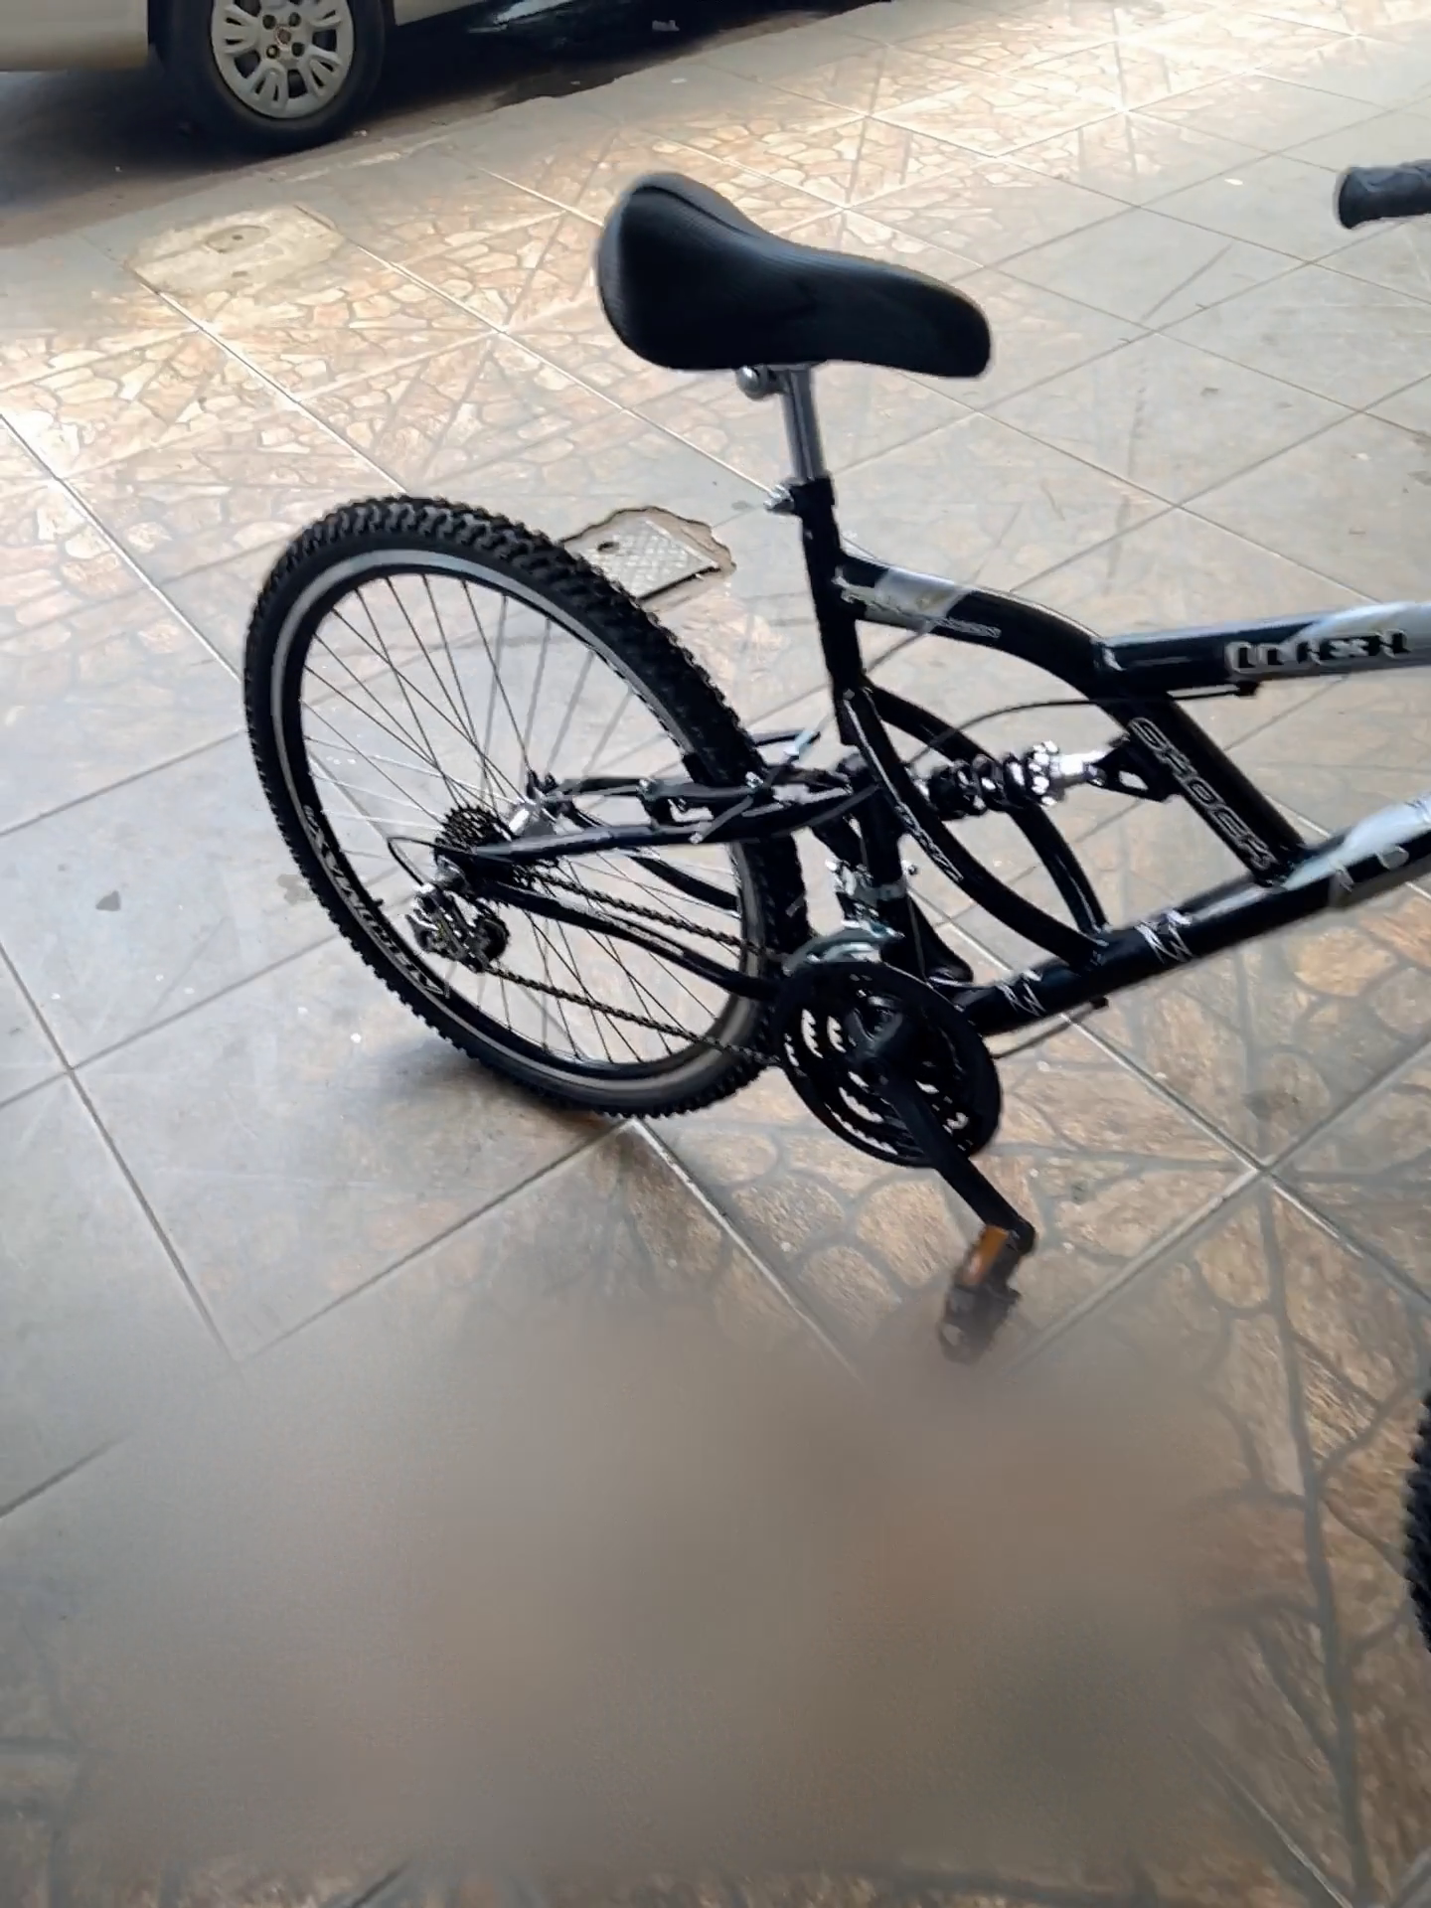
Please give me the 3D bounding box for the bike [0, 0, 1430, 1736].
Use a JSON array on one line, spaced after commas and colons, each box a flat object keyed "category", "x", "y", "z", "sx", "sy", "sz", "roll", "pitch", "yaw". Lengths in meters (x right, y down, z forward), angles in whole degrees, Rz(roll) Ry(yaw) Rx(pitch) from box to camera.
[{"category": "bike", "x": 0.224, "y": -0.206, "z": 1.046, "sx": 1.585, "sy": 1.154, "sz": 0.606, "roll": 13, "pitch": 50, "yaw": 20}]
